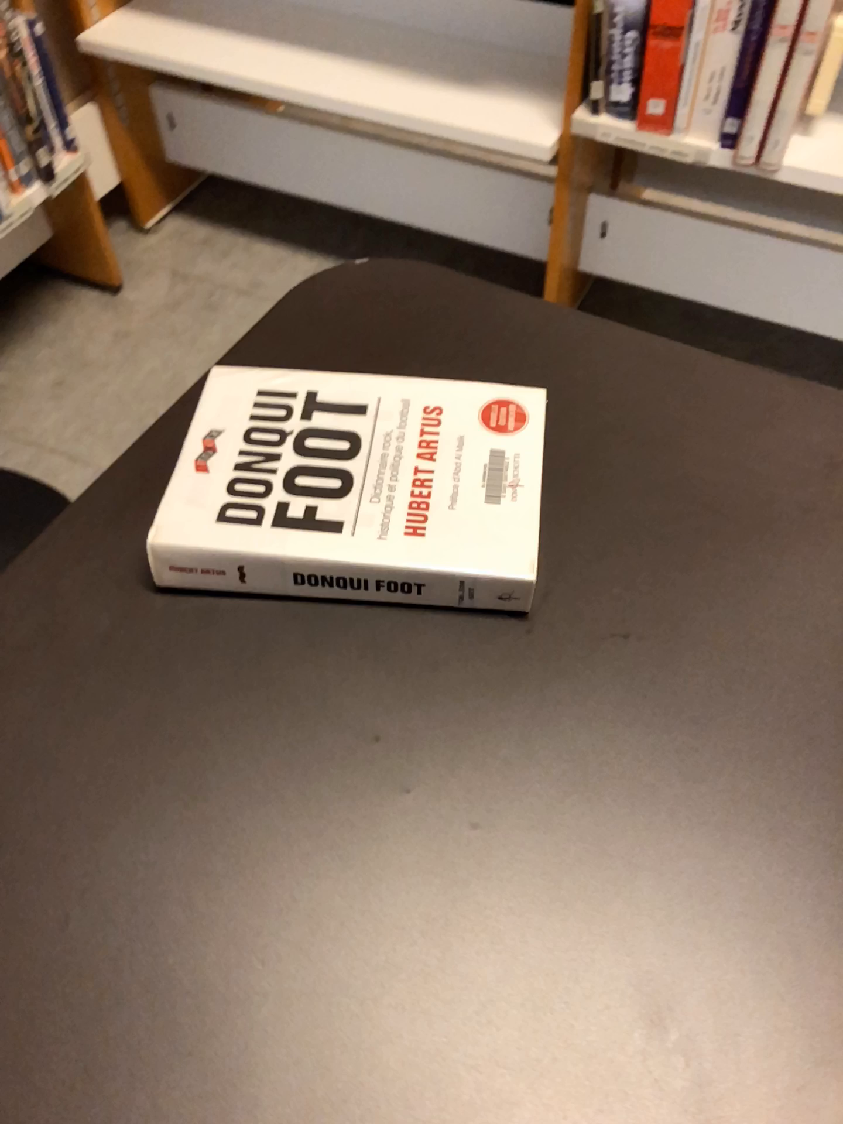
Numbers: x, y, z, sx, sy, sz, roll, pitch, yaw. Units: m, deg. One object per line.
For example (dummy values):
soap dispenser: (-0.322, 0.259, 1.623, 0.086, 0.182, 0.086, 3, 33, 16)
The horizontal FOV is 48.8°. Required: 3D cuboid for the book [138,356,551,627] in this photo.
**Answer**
book: (-0.034, -0.045, 0.528, 0.207, 0.042, 0.148, 5, 53, 3)
